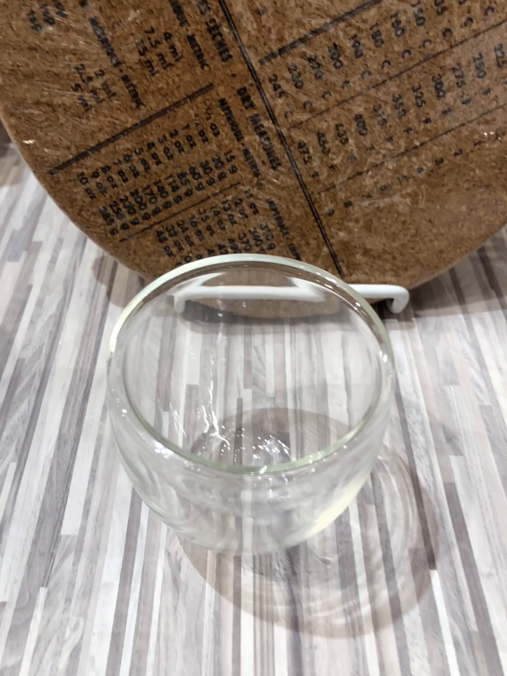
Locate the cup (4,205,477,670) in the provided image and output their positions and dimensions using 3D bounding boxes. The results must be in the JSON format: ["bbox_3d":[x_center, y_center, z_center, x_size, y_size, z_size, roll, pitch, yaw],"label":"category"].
[{"bbox_3d":[0.000,0.019,0.136,0.070,0.050,0.070,1,50,-2],"label":"cup"}]
